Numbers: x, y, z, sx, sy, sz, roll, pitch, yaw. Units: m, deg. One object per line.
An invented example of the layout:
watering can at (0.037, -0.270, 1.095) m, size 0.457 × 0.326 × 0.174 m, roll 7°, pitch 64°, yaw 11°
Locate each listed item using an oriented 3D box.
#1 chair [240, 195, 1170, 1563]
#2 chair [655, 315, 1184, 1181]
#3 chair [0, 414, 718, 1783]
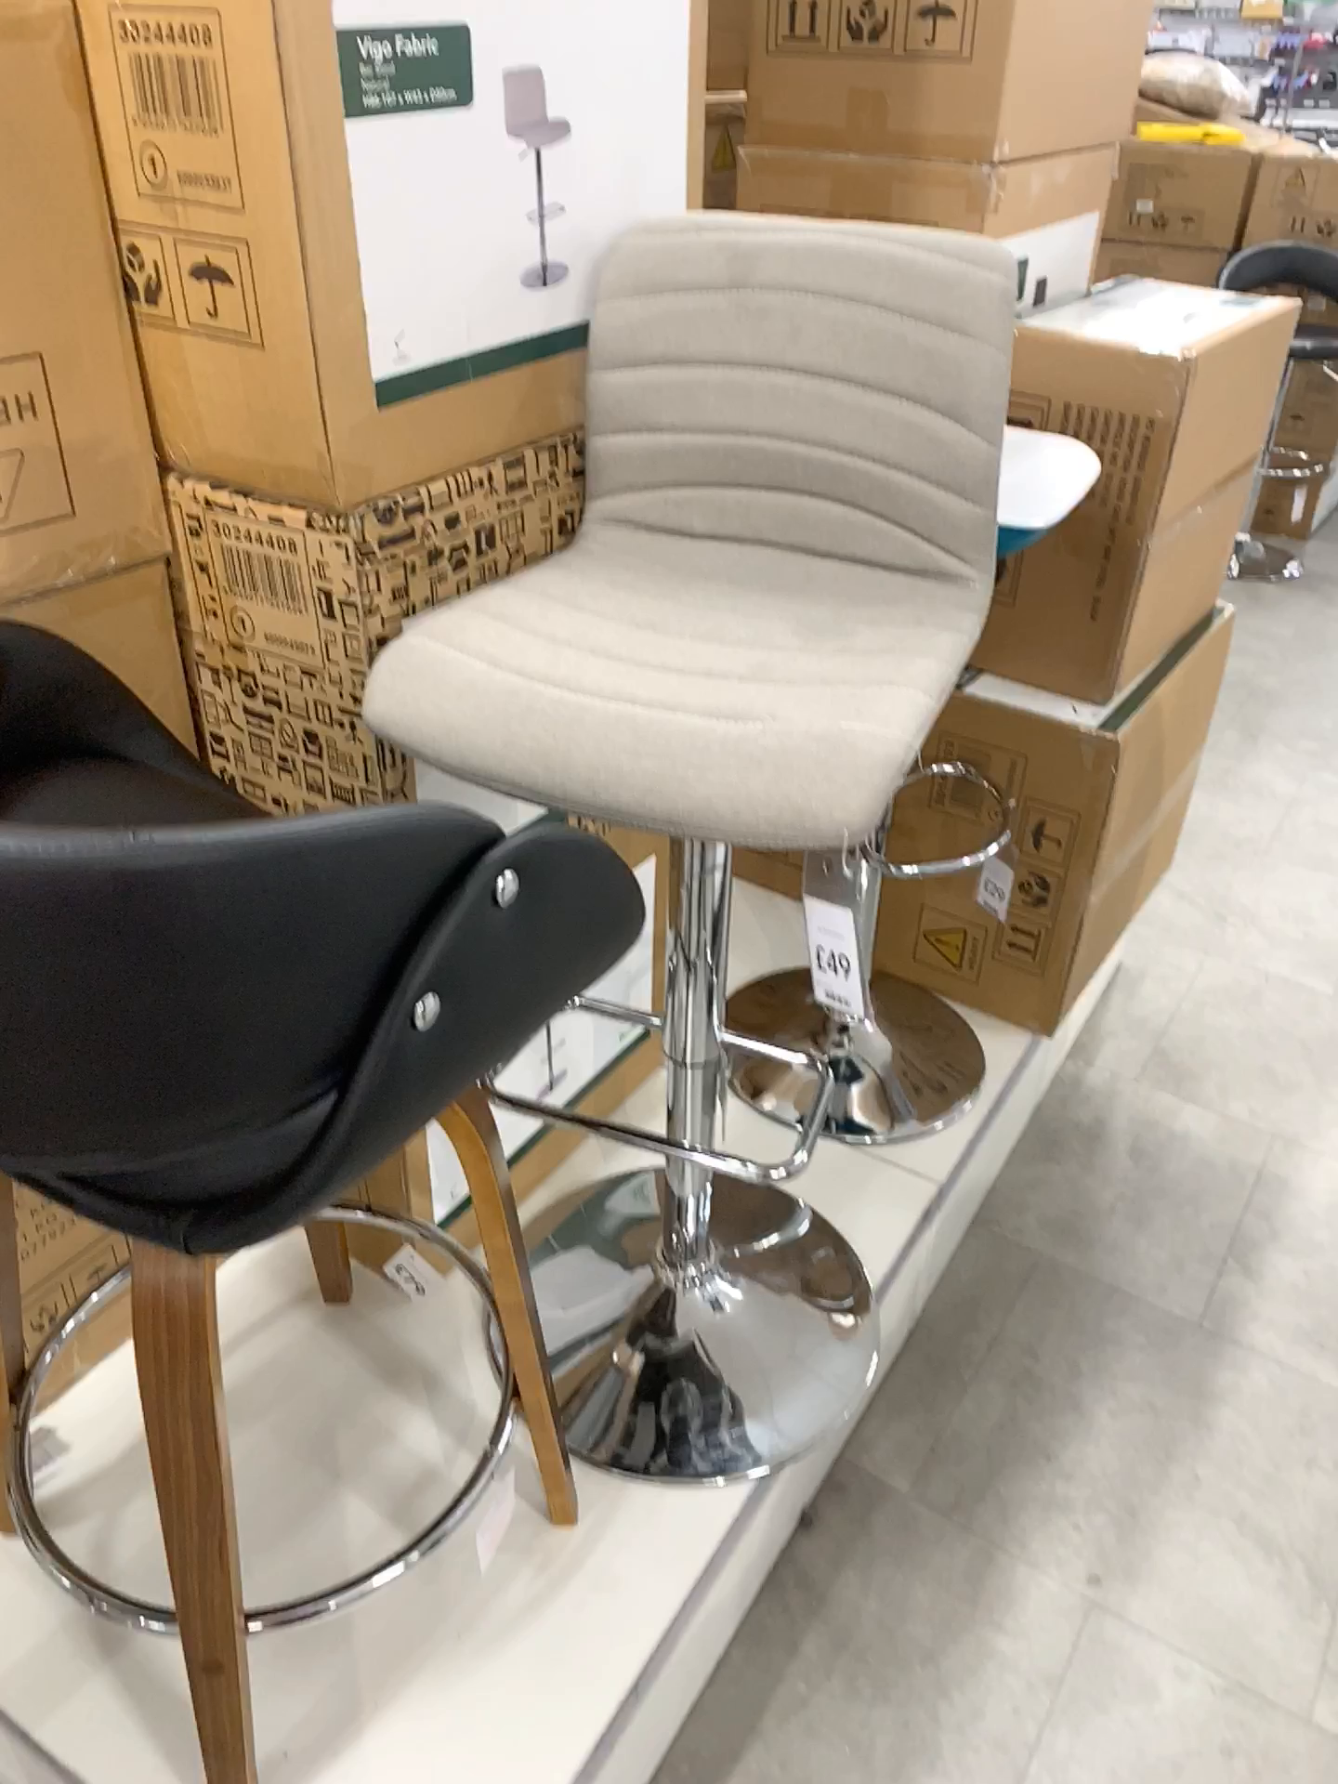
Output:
chair at (0.045, -0.025, 1.193) m, size 0.465 × 0.984 × 0.511 m, roll 17°, pitch 34°, yaw 22°
chair at (0.261, -0.169, 1.561) m, size 0.388 × 0.826 × 0.407 m, roll 17°, pitch 34°, yaw 22°
chair at (-0.340, 0.174, 1.023) m, size 0.536 × 0.865 × 0.491 m, roll 20°, pitch 36°, yaw 27°
